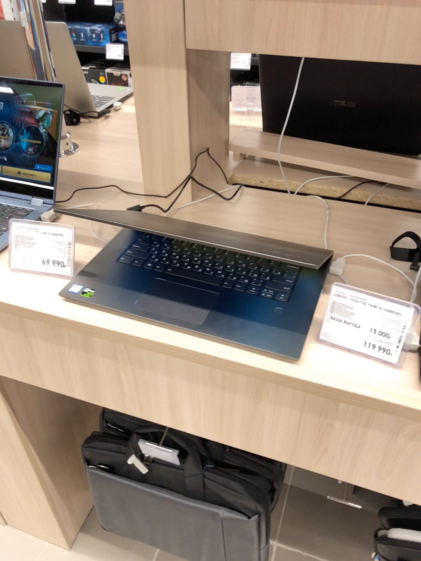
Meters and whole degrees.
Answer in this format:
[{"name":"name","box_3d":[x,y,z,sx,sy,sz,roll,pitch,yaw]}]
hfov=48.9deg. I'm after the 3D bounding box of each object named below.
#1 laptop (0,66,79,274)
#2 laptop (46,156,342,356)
[{"name":"laptop","box_3d":[-0.495,-0.234,0.865,0.354,0.201,0.344,12,39,14]},{"name":"laptop","box_3d":[-0.012,-0.060,0.704,0.362,0.118,0.243,13,40,17]}]
